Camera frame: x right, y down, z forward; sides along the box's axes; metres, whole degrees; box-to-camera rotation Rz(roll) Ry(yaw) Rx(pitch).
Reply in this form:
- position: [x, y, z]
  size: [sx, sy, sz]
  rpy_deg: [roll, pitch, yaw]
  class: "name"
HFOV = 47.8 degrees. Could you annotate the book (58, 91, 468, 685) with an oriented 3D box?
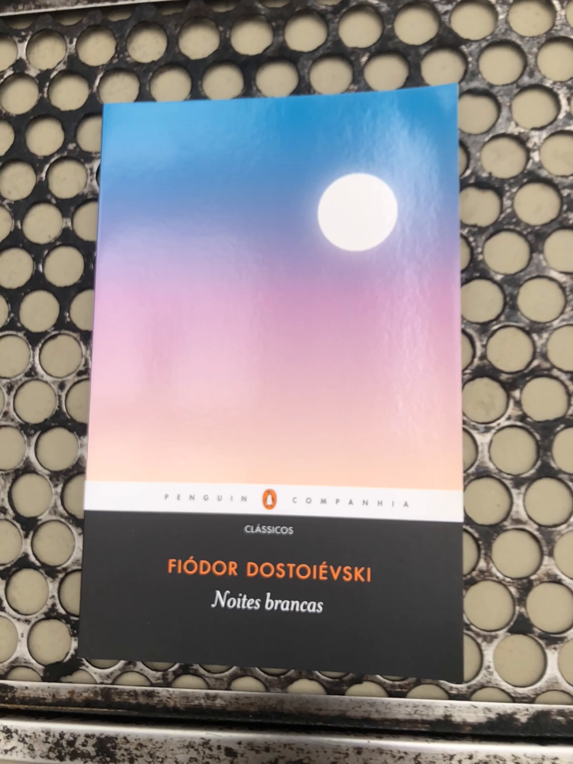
- position: [-0.007, -0.002, 0.220]
  size: [0.132, 0.010, 0.191]
  rpy_deg: [1, 85, 7]
  class: "book"
